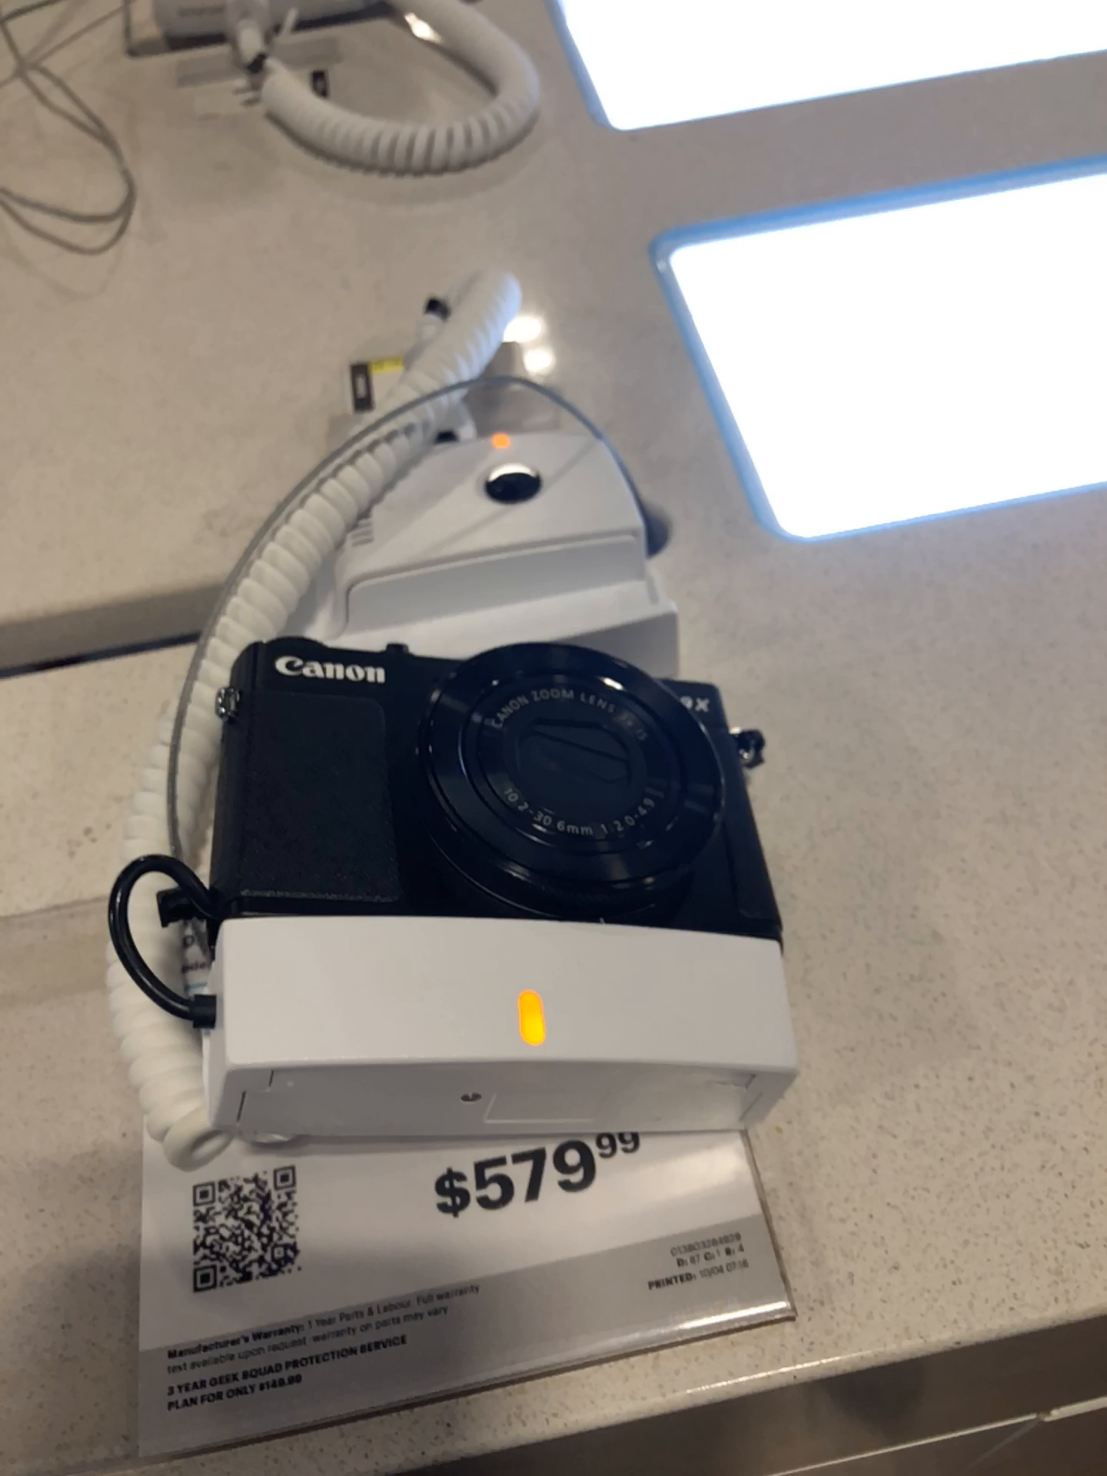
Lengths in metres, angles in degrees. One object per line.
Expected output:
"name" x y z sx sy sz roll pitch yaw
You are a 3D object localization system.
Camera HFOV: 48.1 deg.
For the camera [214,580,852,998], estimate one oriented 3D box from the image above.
"camera" -0.006 0.009 0.219 0.100 0.020 0.070 5 49 -16
